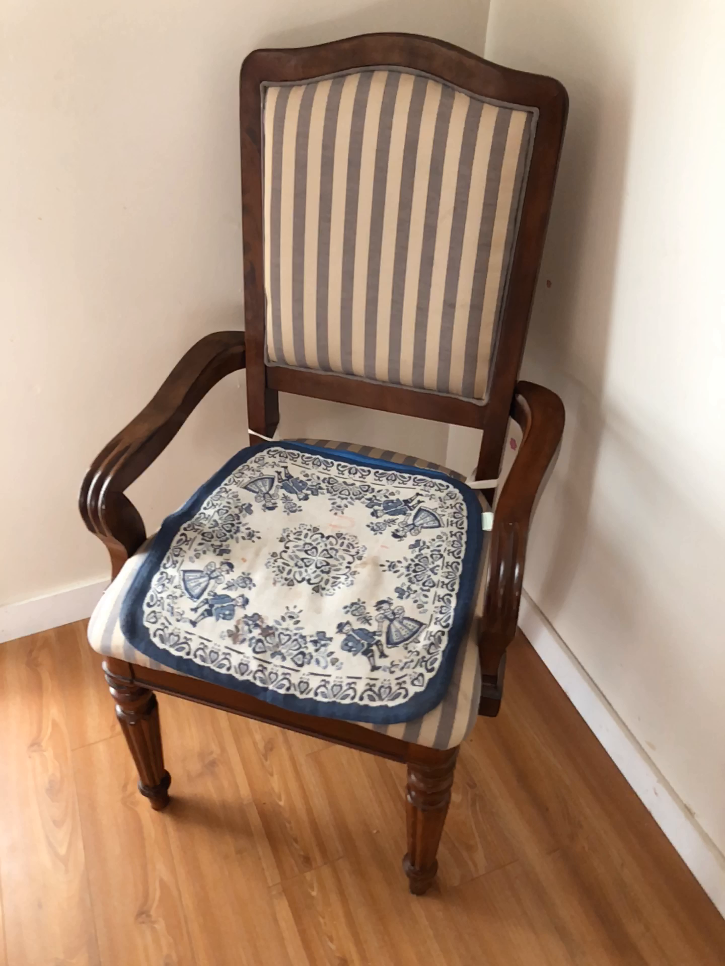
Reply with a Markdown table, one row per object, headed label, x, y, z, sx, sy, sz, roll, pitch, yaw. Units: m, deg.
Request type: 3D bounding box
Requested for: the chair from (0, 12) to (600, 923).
| label | x | y | z | sx | sy | sz | roll | pitch | yaw |
| --- | --- | --- | --- | --- | --- | --- | --- | --- | --- |
| chair | -0.057 | 0.014 | 1.096 | 0.530 | 1.043 | 0.584 | 10 | 41 | 12 |
